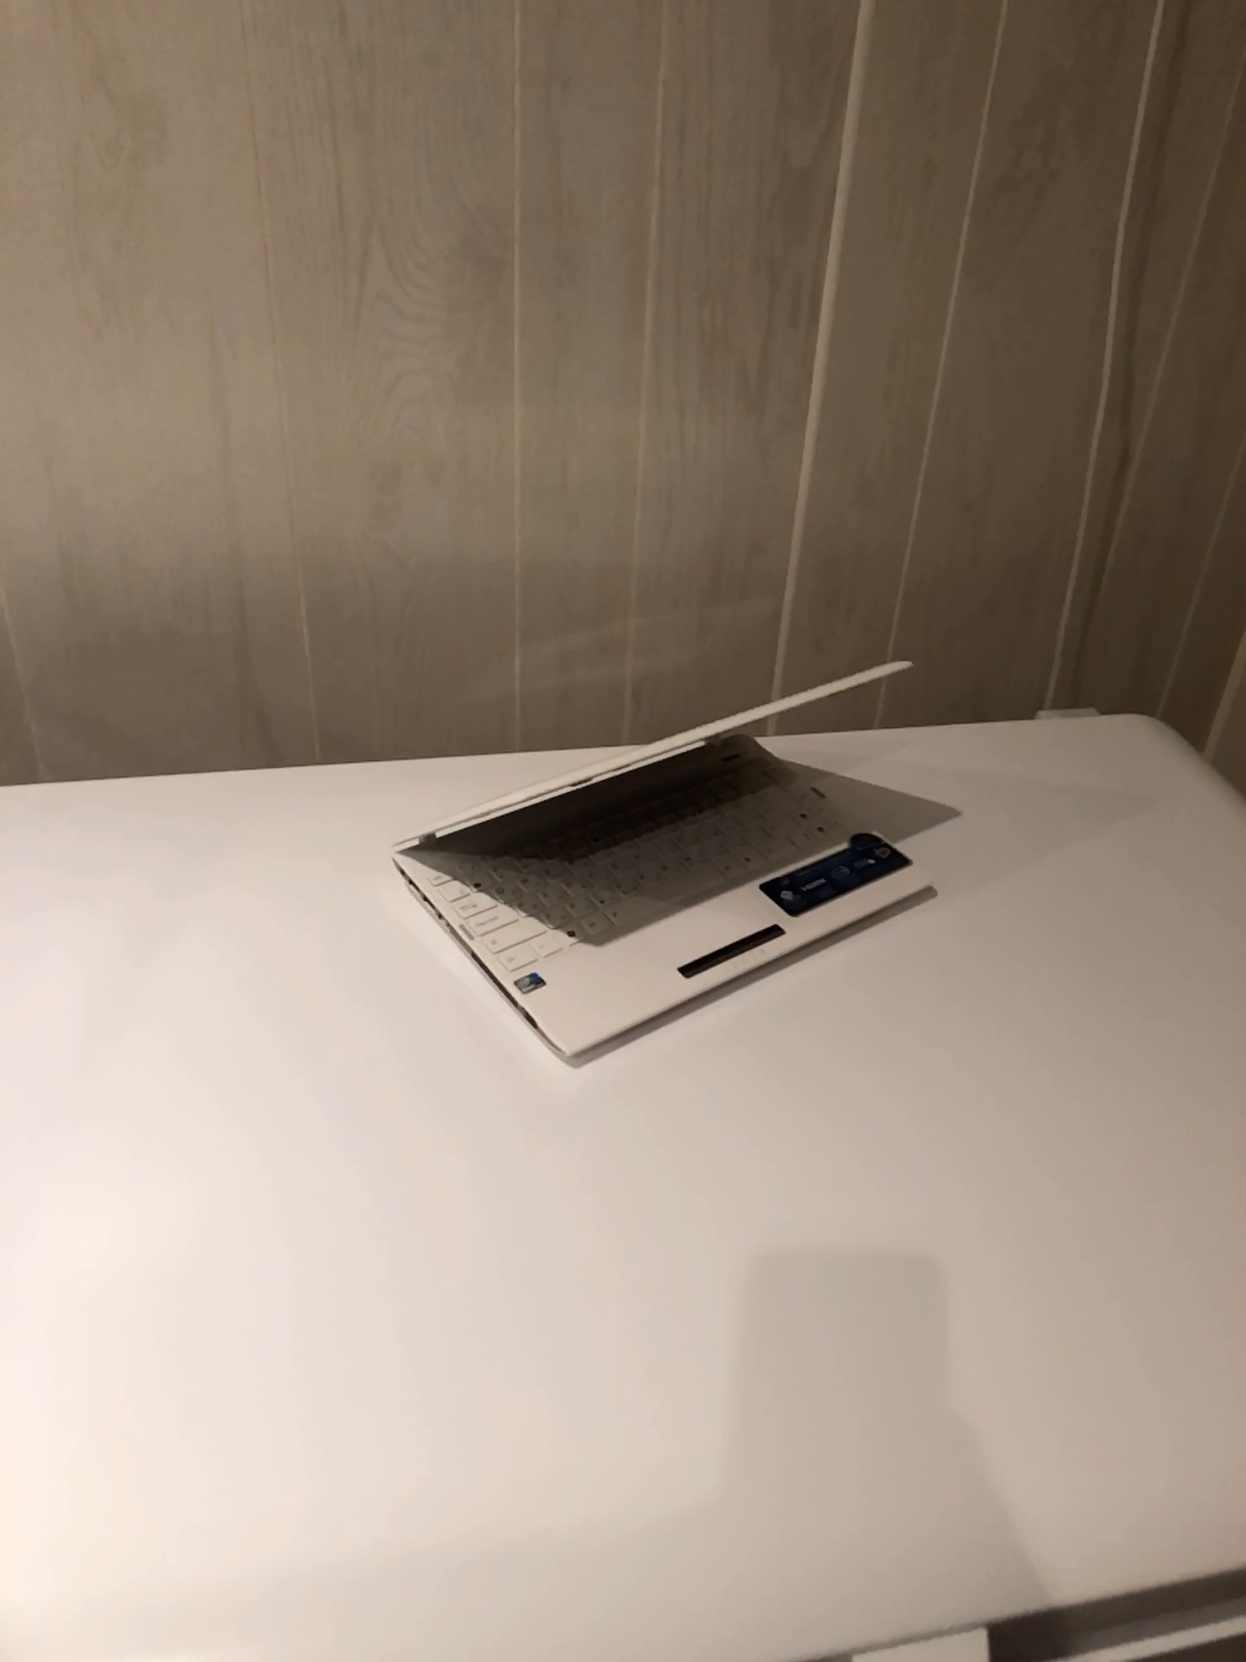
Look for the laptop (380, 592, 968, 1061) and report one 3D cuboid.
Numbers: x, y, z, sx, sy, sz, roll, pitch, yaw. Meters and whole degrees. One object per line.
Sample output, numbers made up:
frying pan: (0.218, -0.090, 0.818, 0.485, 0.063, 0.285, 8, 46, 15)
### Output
laptop: (0.032, -0.020, 0.860, 0.299, 0.115, 0.198, -22, 46, -31)
